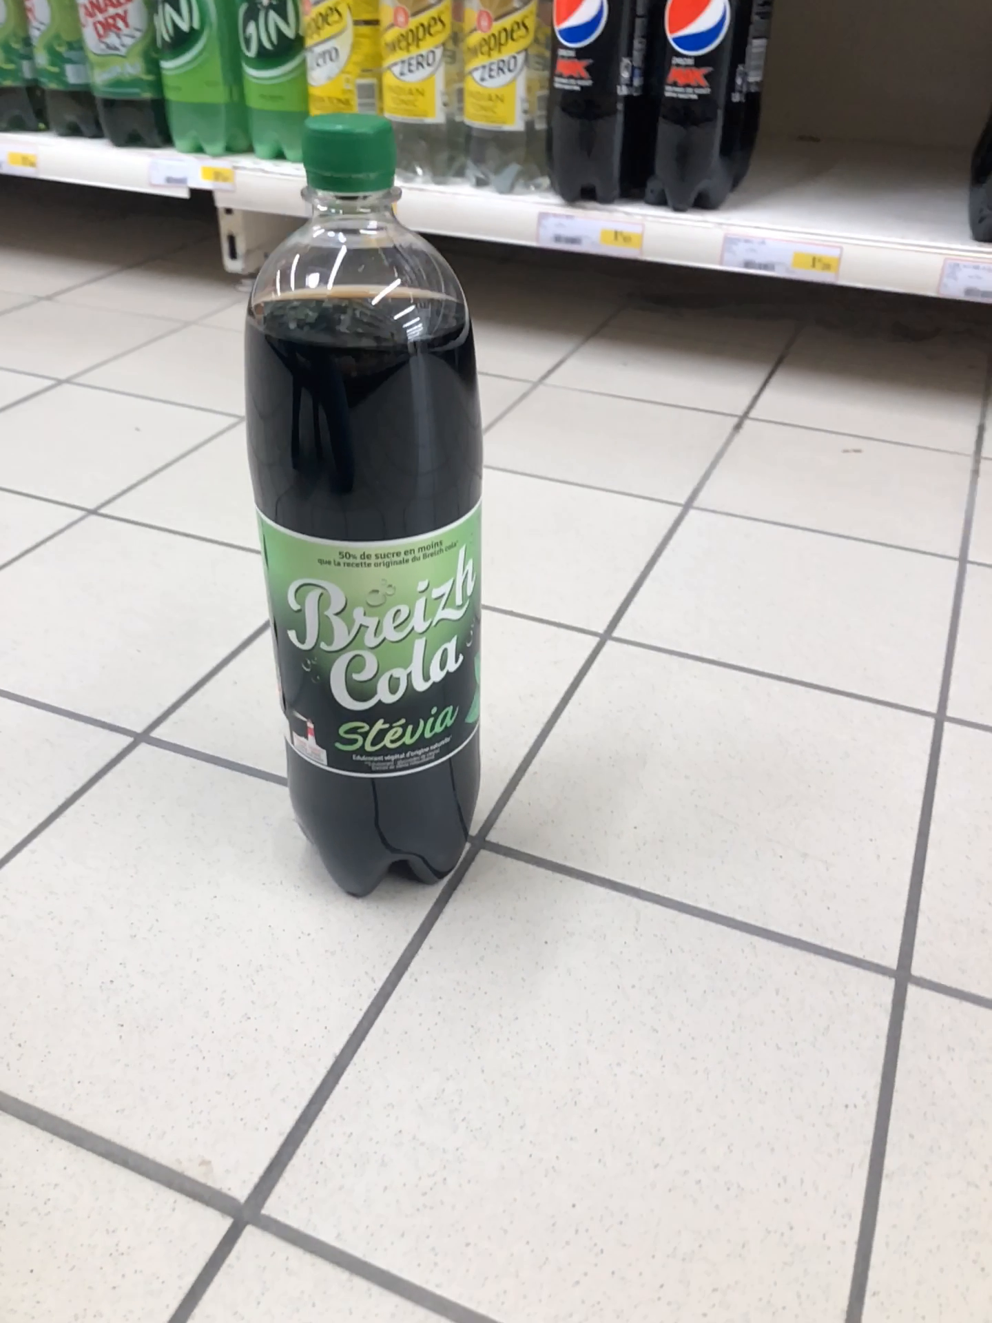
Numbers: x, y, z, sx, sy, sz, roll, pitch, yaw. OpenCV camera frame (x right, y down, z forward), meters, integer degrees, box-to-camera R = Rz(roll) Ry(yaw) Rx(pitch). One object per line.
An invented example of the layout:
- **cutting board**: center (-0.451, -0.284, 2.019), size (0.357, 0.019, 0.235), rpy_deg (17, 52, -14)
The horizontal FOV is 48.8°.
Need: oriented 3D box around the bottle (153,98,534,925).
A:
- **bottle**: center (-0.056, -0.049, 0.433), size (0.100, 0.298, 0.100), rpy_deg (1, 33, -1)
